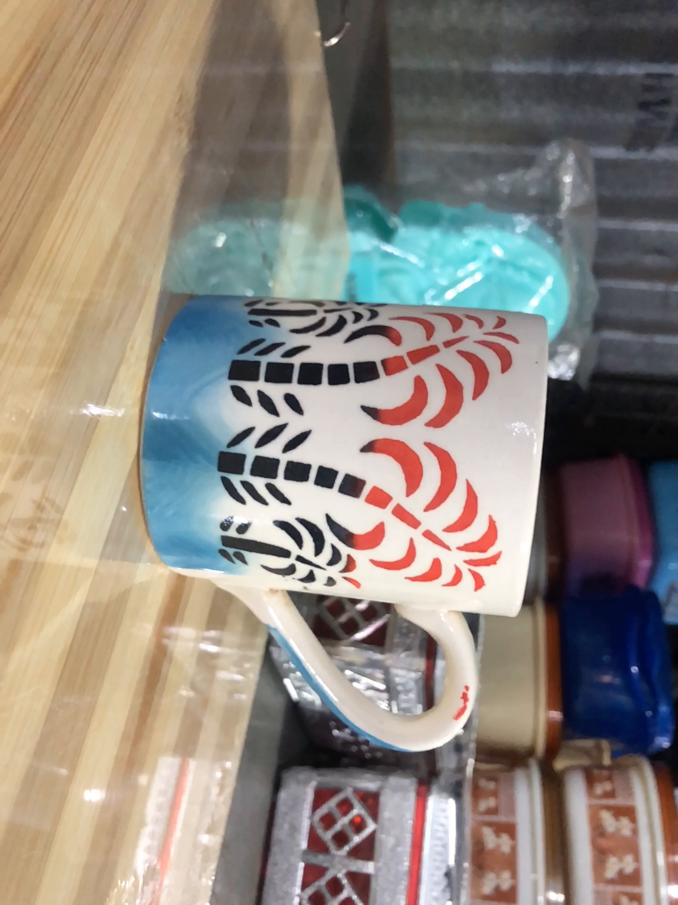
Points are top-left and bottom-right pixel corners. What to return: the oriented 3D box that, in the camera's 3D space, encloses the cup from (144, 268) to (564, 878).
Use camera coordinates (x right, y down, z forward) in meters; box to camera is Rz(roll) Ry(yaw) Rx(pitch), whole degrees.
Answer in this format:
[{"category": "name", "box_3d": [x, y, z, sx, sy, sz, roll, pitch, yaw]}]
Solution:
[{"category": "cup", "box_3d": [0.007, 0.018, 0.203, 0.100, 0.080, 0.120, -43, 136, -76]}]
